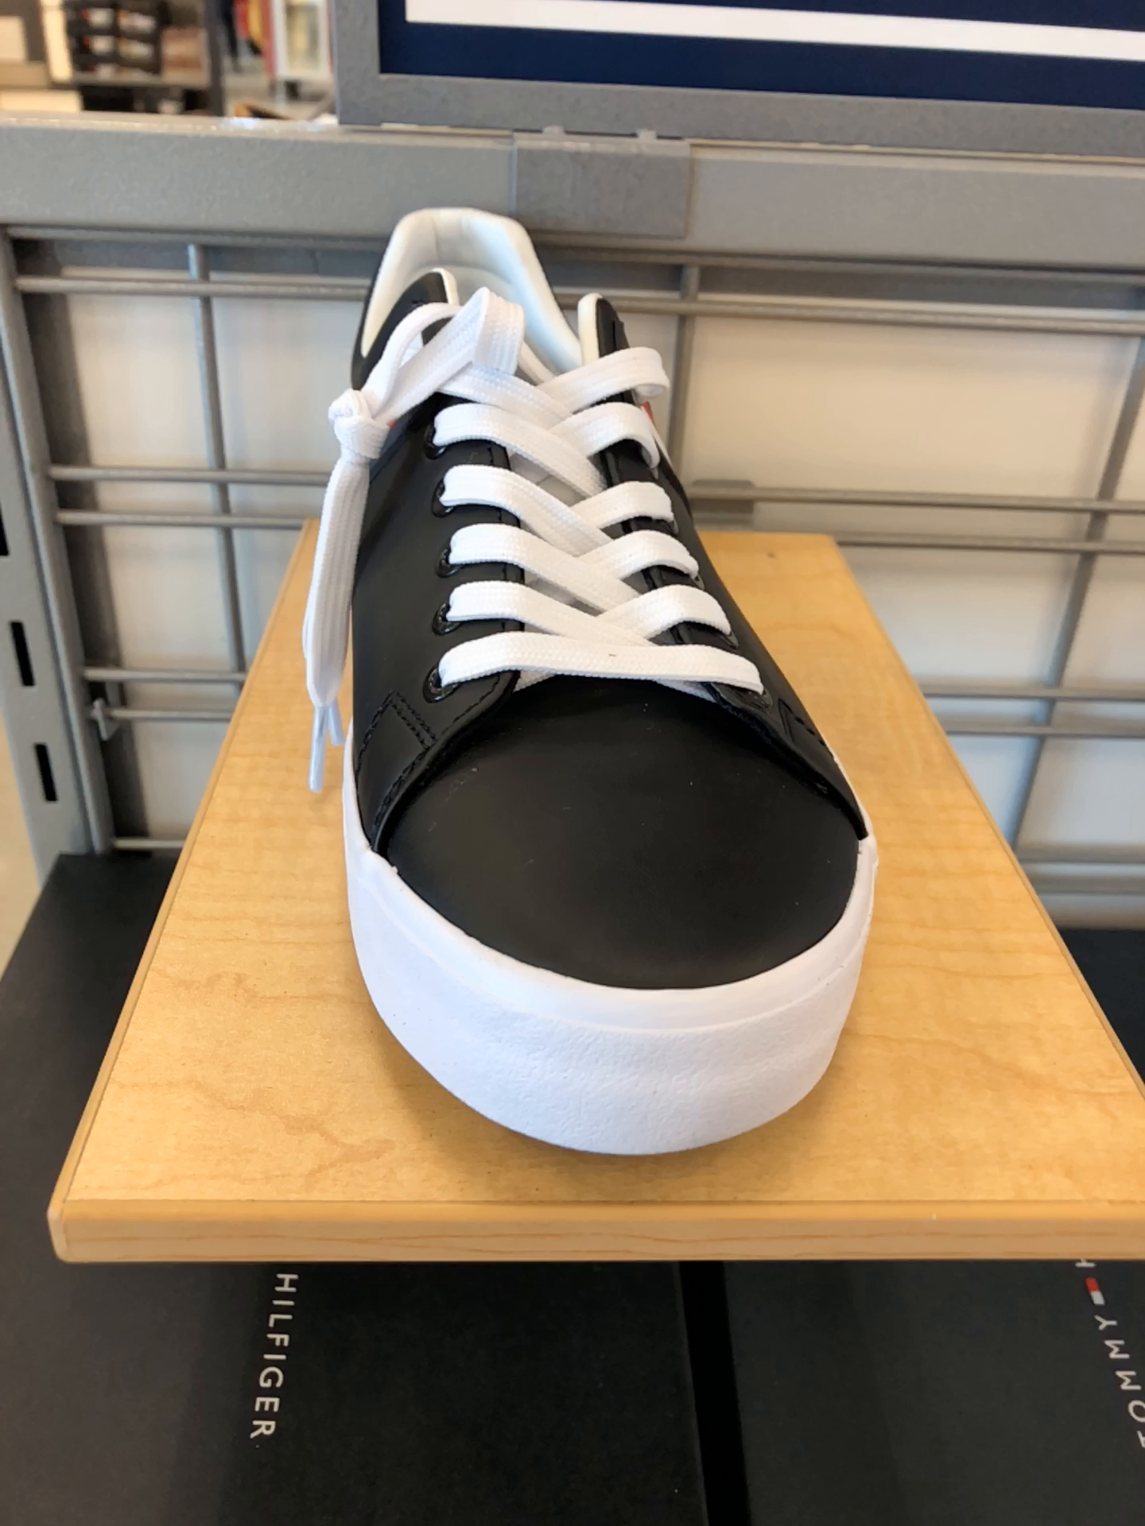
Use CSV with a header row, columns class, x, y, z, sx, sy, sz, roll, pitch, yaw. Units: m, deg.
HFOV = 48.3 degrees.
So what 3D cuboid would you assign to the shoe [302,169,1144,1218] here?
class,x,y,z,sx,sy,sz,roll,pitch,yaw
shoe,-0.005,-0.057,0.278,0.100,0.089,0.292,-2,33,-11
